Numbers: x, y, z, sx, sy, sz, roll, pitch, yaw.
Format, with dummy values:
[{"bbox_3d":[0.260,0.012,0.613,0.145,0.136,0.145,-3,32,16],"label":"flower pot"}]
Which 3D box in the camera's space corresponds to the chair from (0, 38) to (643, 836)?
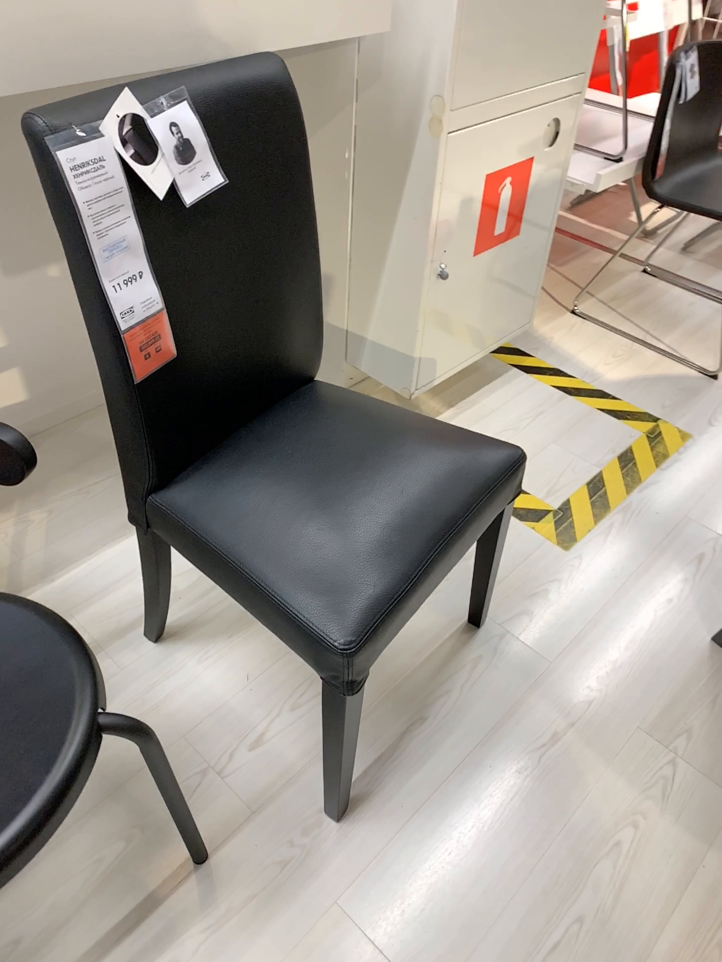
[{"bbox_3d":[-0.080,-0.062,1.186,0.601,0.974,0.583,26,46,23],"label":"chair"}]
